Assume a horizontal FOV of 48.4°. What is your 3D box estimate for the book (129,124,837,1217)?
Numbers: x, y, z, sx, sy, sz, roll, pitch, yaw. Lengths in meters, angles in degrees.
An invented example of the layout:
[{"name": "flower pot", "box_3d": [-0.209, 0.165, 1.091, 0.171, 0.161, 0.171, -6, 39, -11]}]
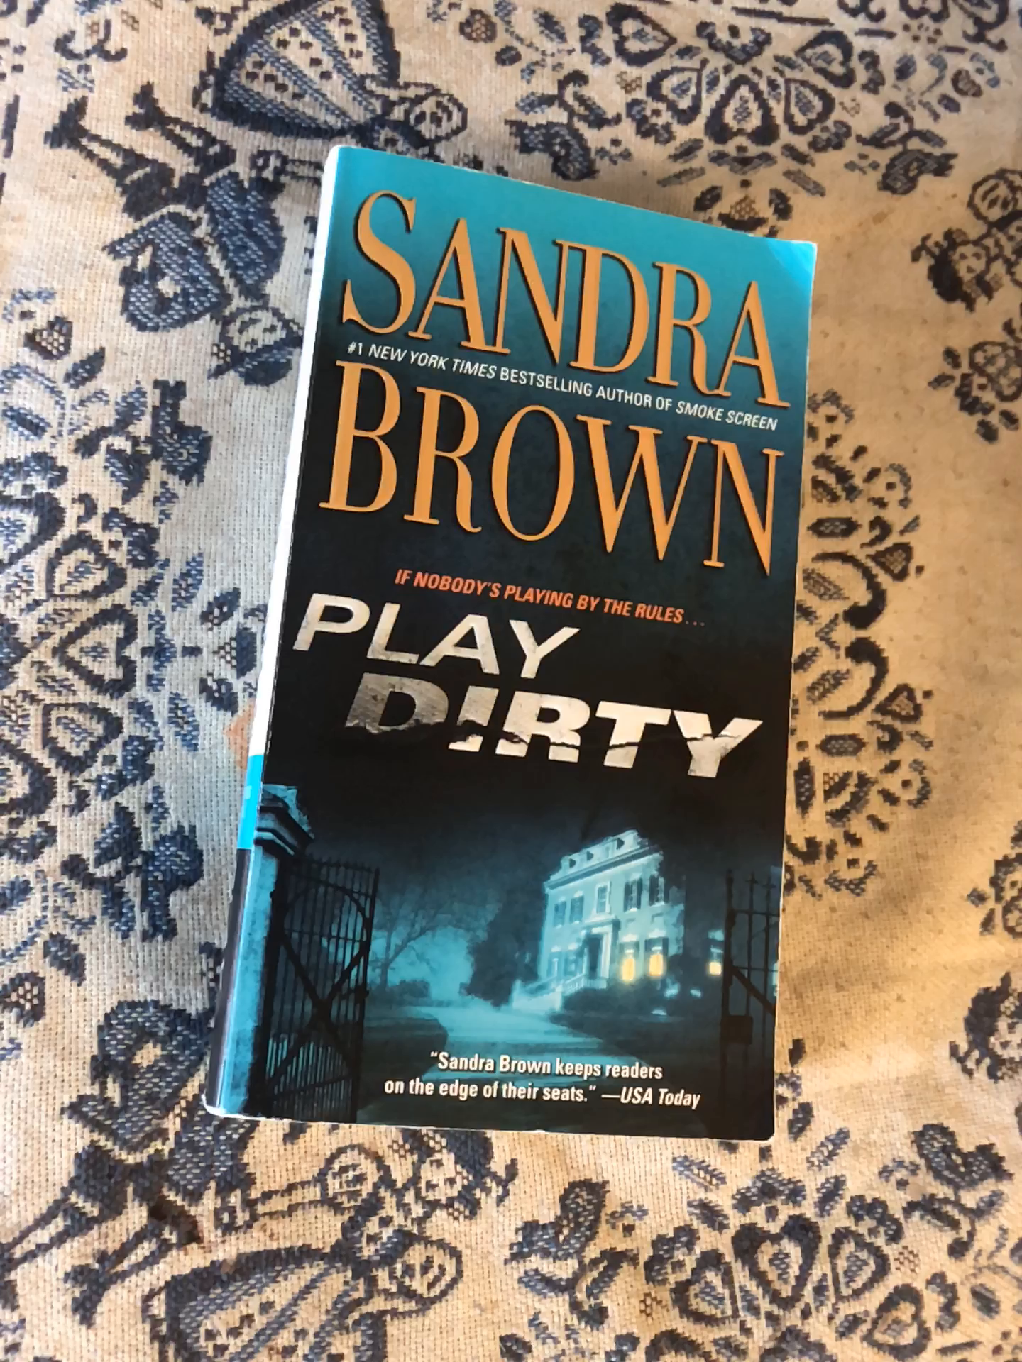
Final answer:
[{"name": "book", "box_3d": [-0.001, 0.000, 0.216, 0.110, 0.040, 0.180, 6, 81, -12]}]
